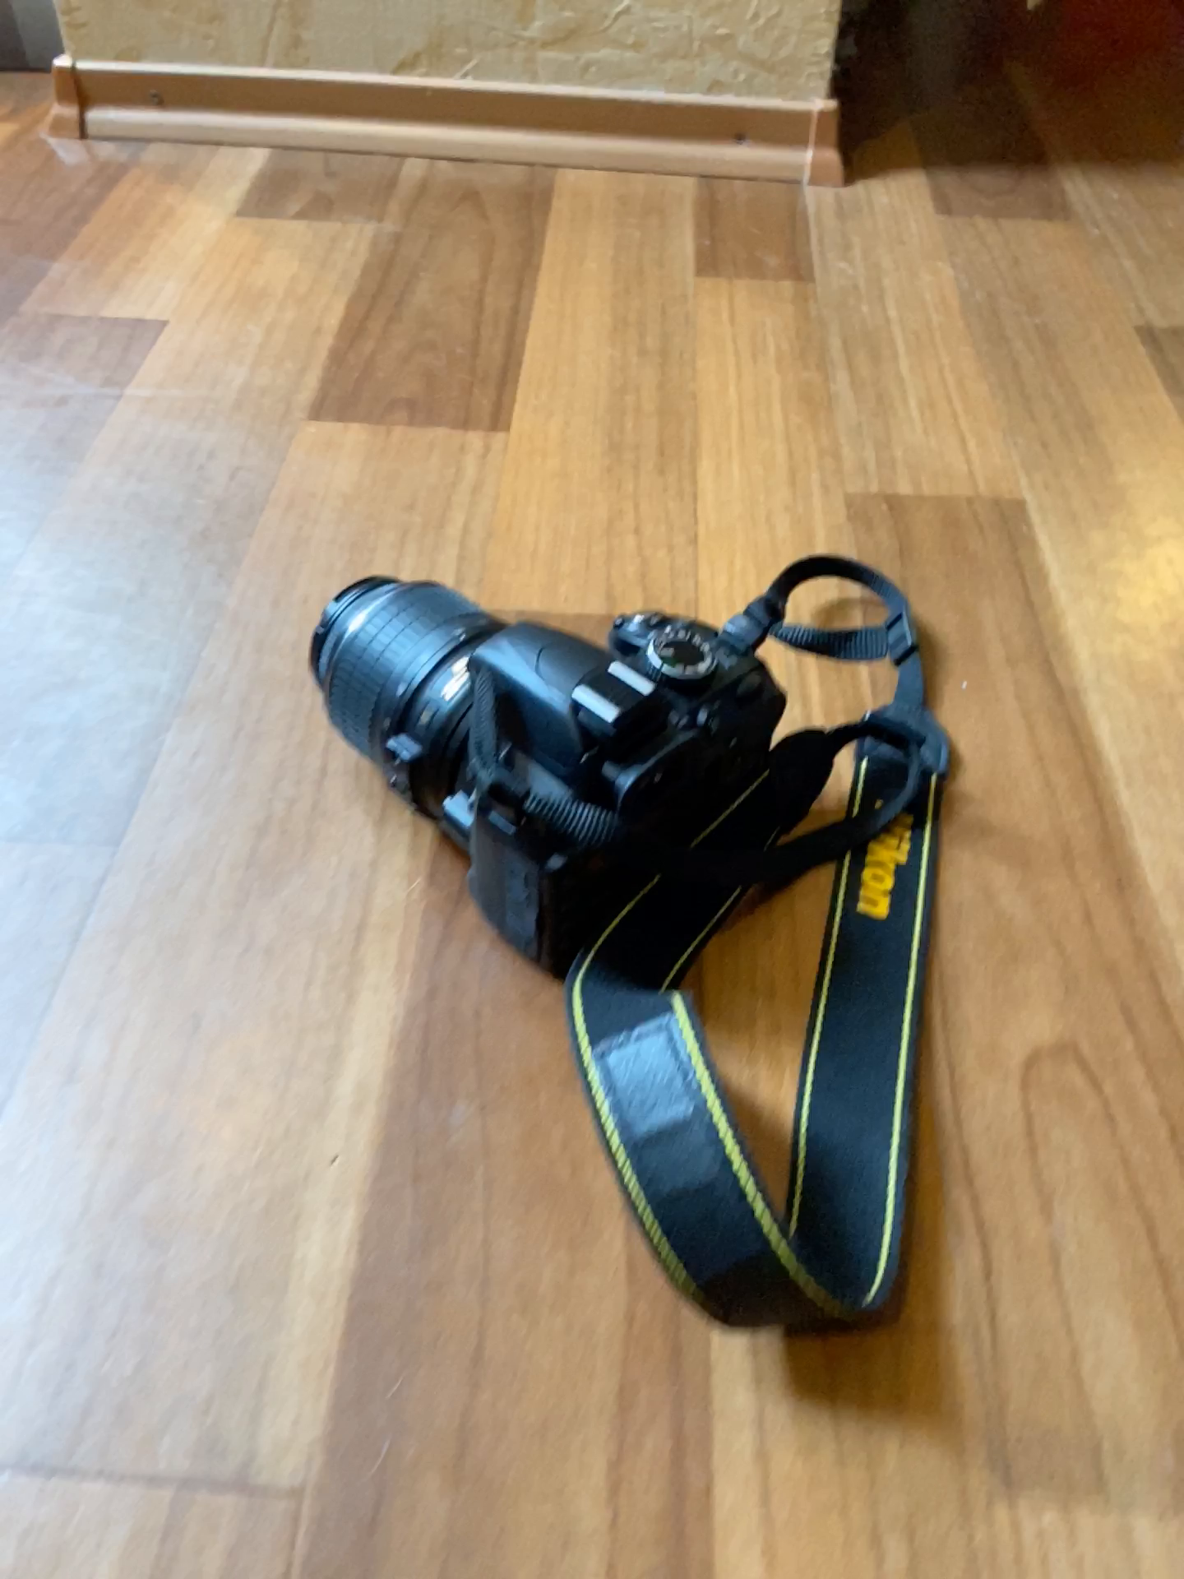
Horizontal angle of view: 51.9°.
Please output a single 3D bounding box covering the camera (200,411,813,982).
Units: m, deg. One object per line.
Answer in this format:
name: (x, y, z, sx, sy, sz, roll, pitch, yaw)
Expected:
camera: (-0.030, -0.041, 0.428, 0.162, 0.090, 0.121, 35, 54, 27)
